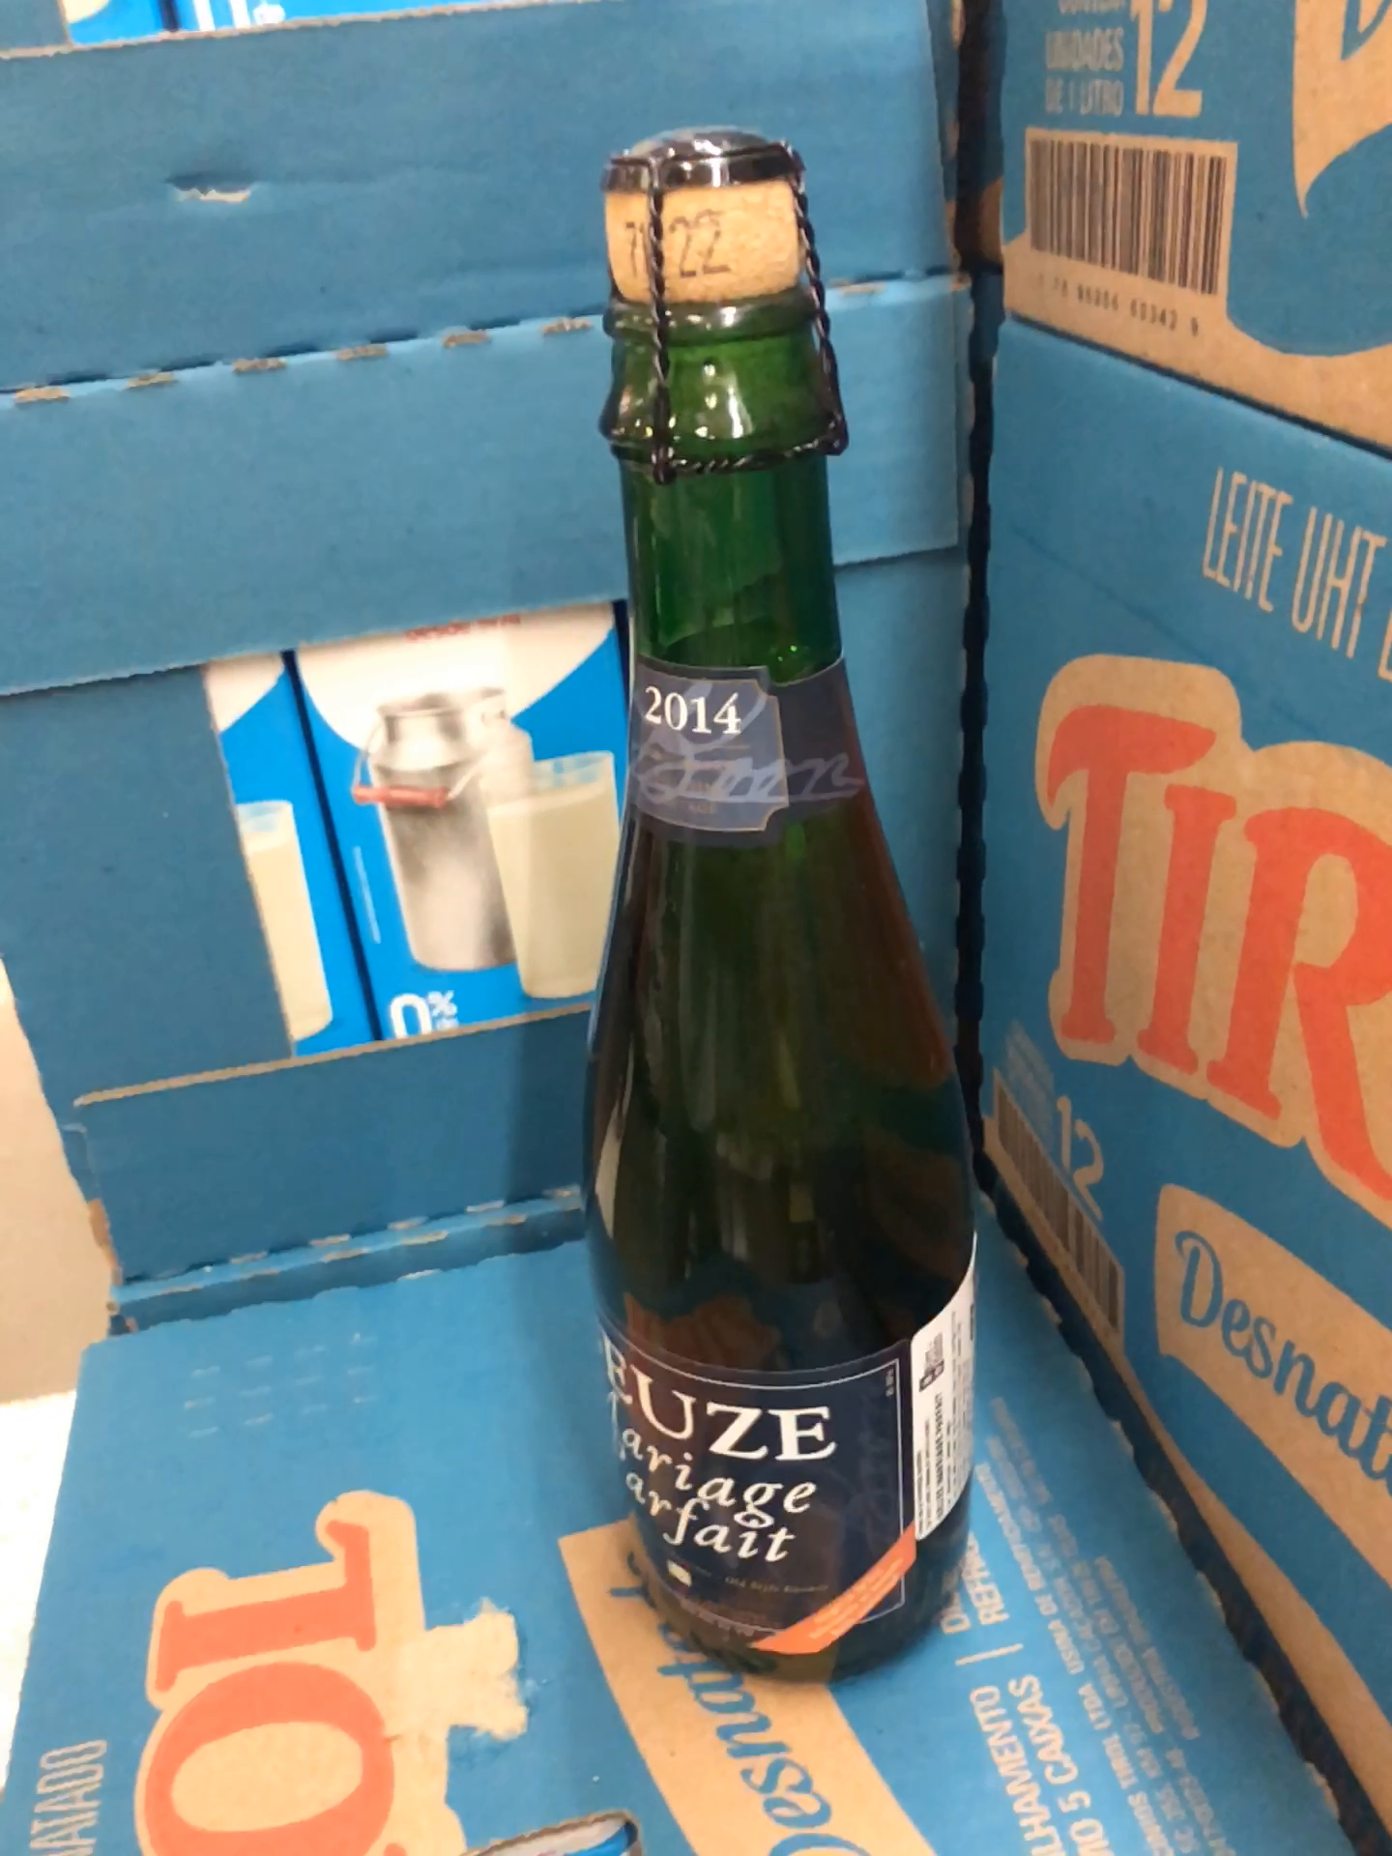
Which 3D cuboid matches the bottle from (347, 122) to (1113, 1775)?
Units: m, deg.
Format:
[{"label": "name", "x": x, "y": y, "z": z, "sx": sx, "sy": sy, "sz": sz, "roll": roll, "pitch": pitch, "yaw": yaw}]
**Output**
[{"label": "bottle", "x": 0.013, "y": 0.018, "z": 0.251, "sx": 0.070, "sy": 0.258, "sz": 0.060, "roll": 18, "pitch": 37, "yaw": 33}]
